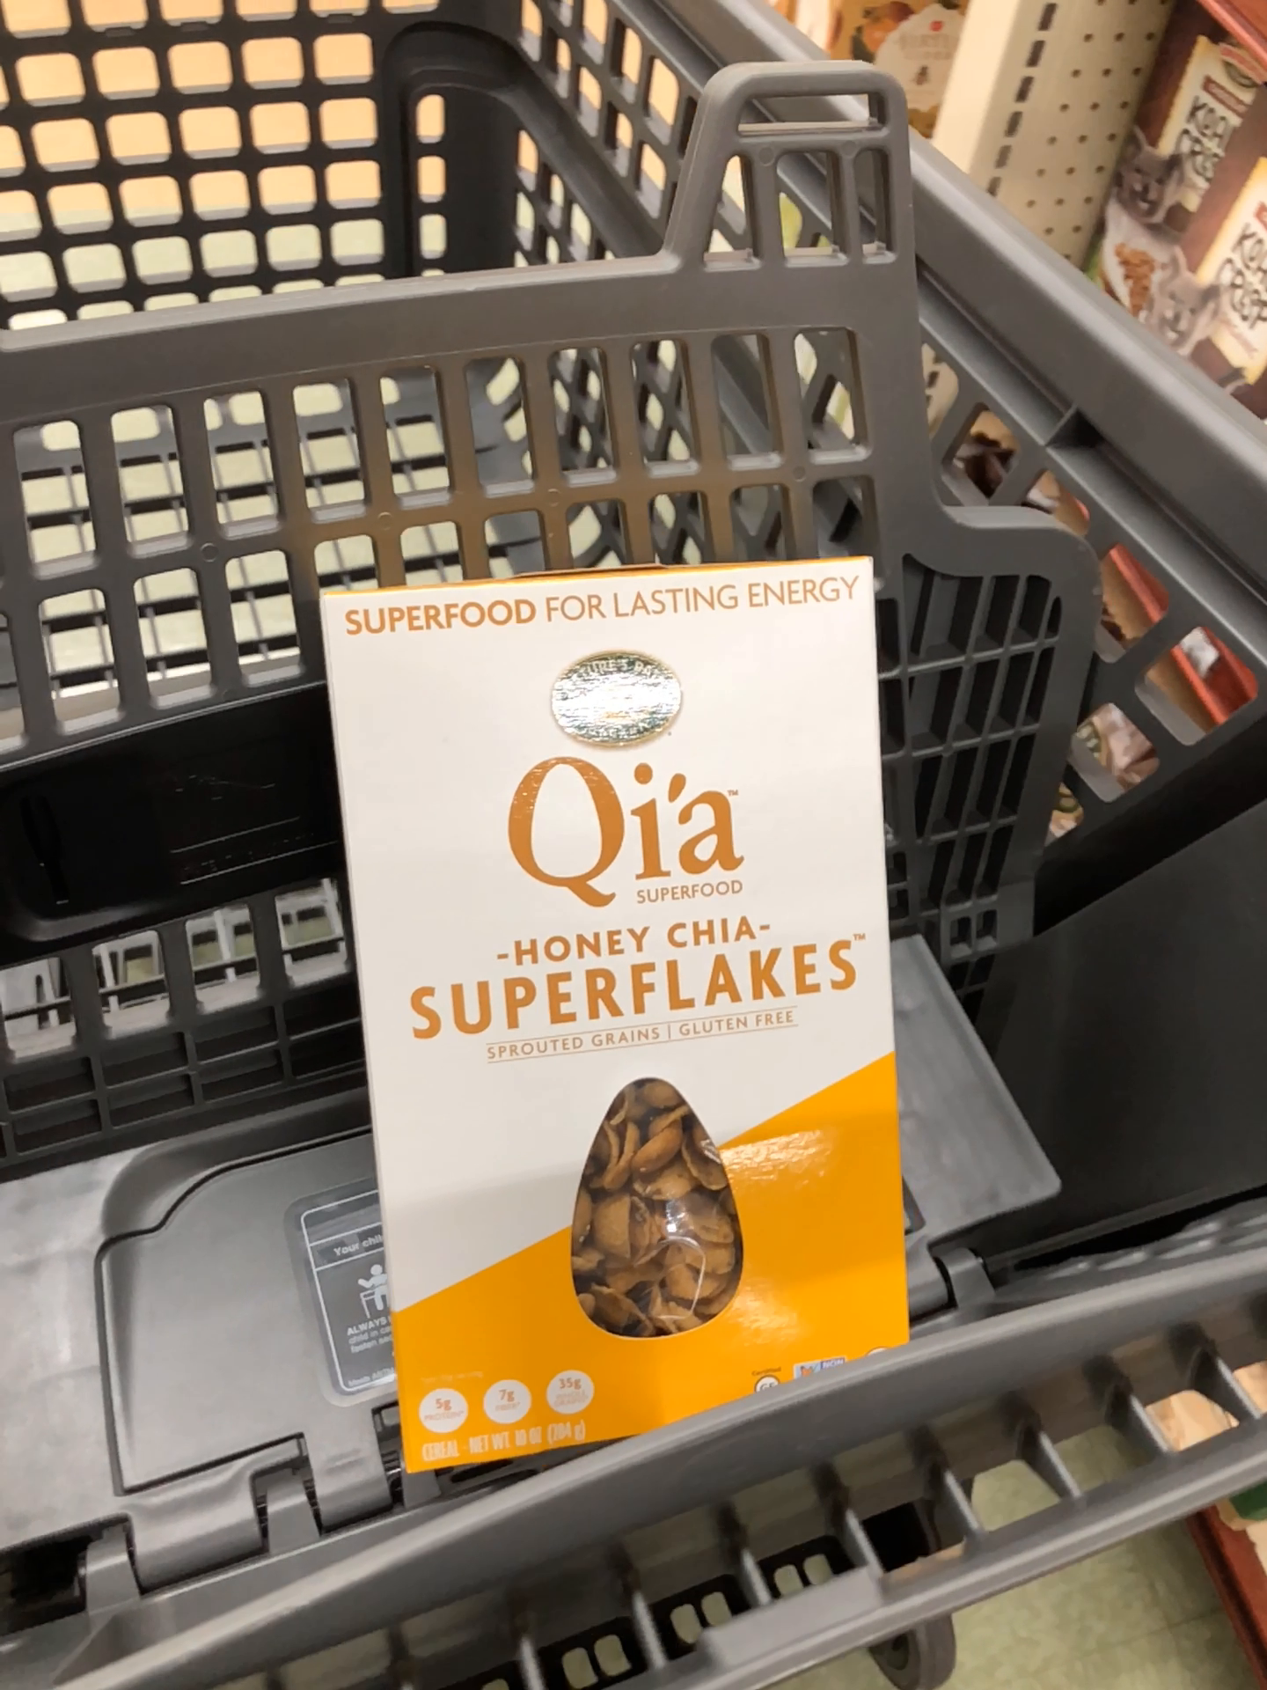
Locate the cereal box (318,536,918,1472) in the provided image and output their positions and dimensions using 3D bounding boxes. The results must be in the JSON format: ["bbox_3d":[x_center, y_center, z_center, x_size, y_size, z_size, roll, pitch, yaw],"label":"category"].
[{"bbox_3d":[-0.005,0.043,0.440,0.160,0.070,0.260,-5,97,-10],"label":"cereal box"}]
